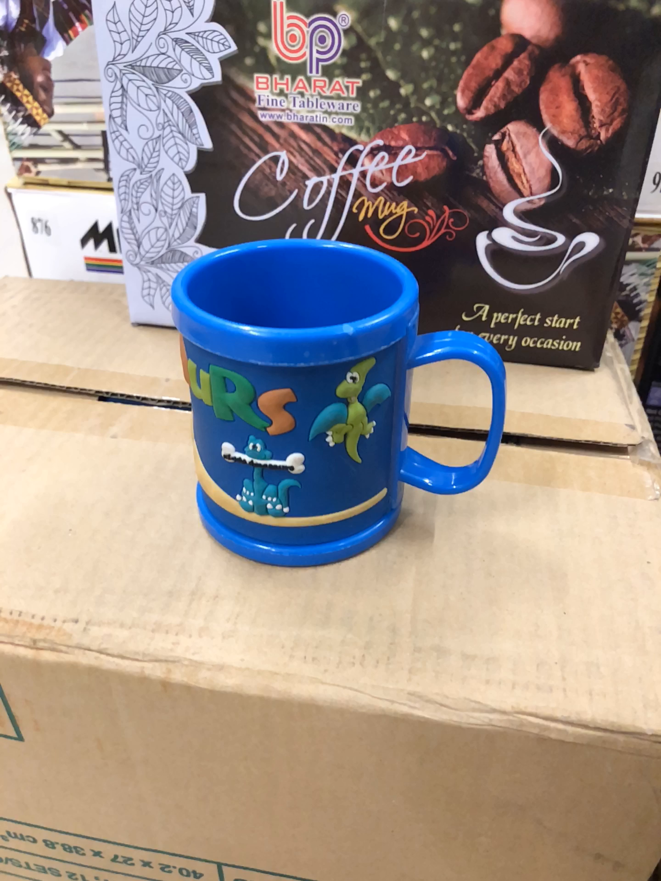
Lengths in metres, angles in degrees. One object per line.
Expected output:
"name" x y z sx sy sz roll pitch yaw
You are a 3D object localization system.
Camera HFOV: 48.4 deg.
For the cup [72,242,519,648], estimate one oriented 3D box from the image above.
"cup" -0.005 -0.005 0.260 0.120 0.089 0.091 10 36 13
